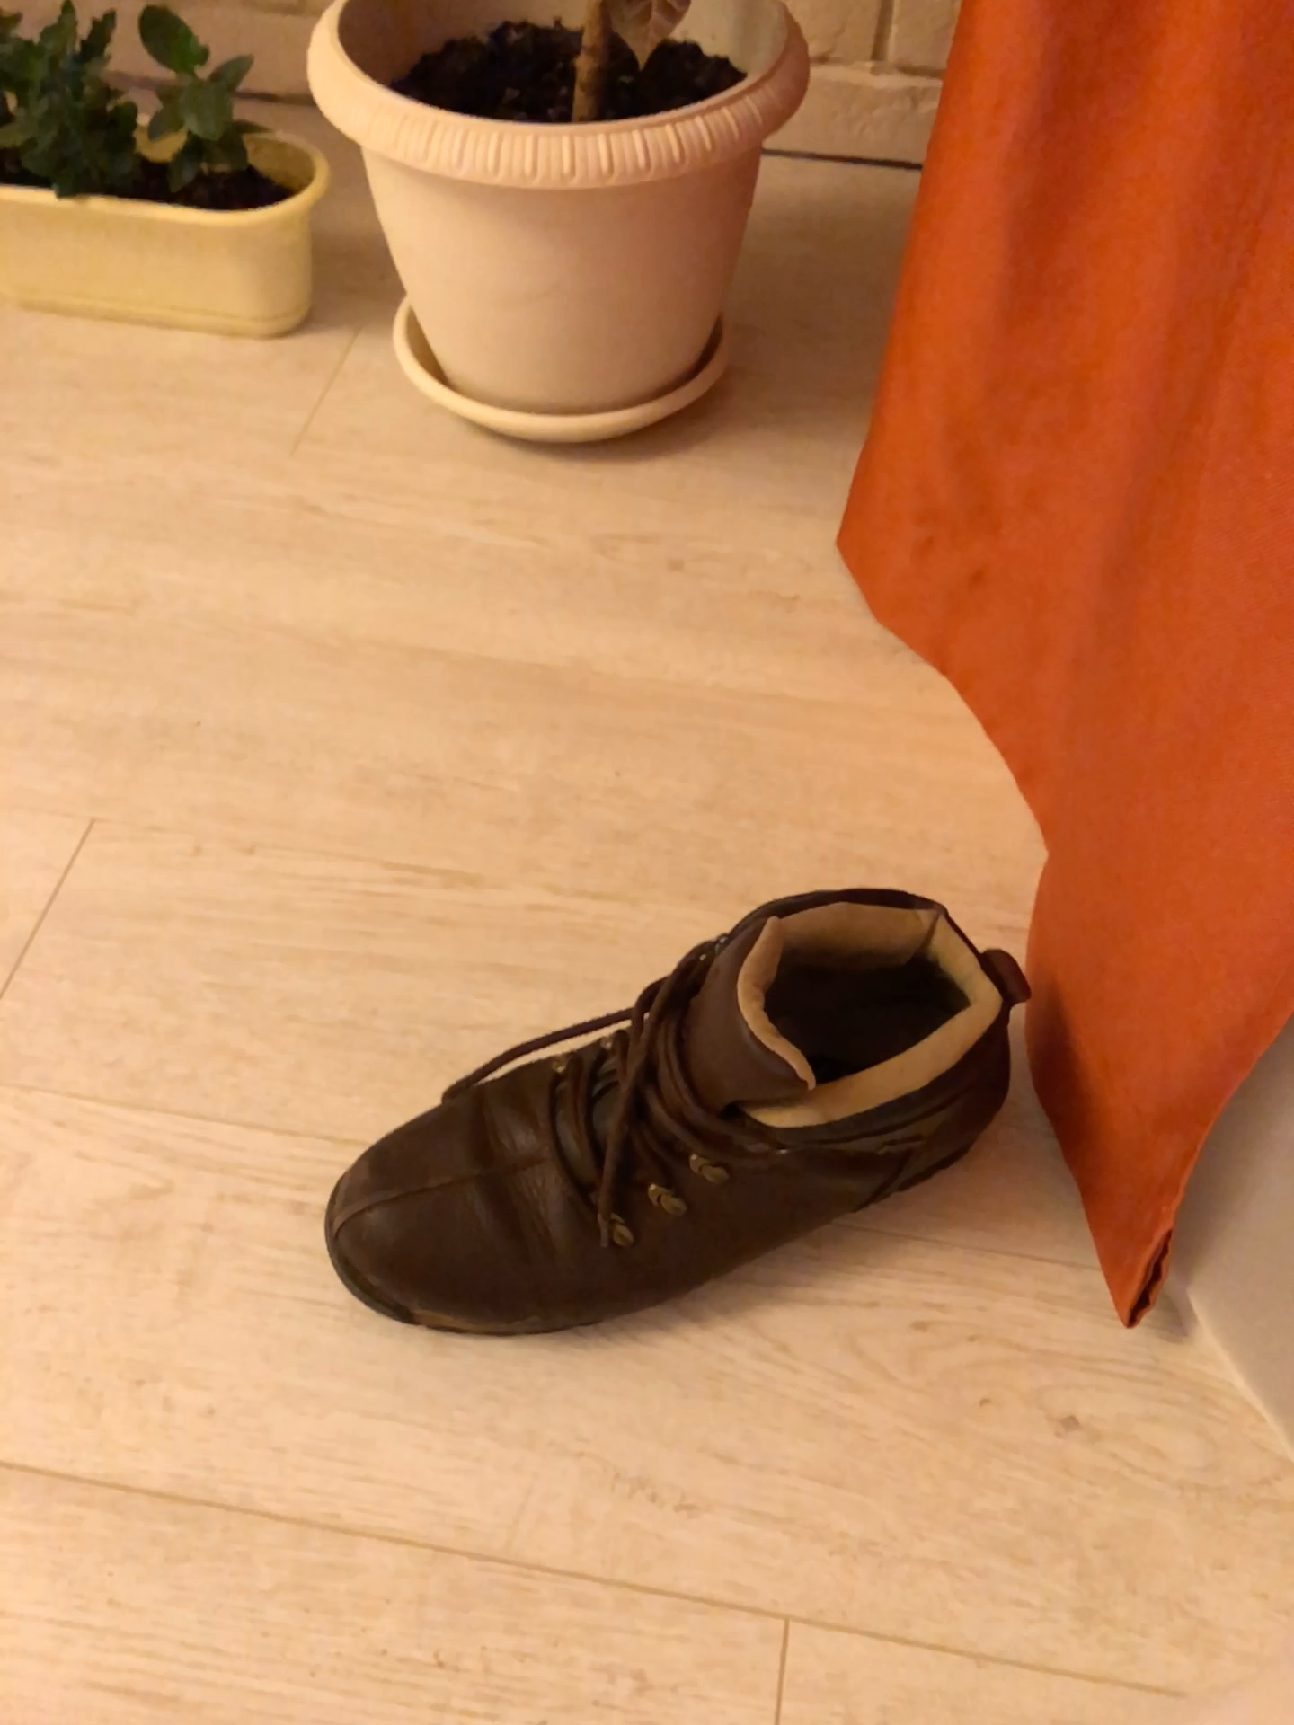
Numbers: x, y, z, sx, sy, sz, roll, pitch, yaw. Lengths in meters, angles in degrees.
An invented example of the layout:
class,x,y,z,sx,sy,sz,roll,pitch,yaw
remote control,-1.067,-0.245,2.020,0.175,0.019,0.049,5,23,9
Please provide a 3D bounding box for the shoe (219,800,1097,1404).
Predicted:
class,x,y,z,sx,sy,sz,roll,pitch,yaw
shoe,0.002,0.098,0.581,0.300,0.159,0.111,-13,54,-11
